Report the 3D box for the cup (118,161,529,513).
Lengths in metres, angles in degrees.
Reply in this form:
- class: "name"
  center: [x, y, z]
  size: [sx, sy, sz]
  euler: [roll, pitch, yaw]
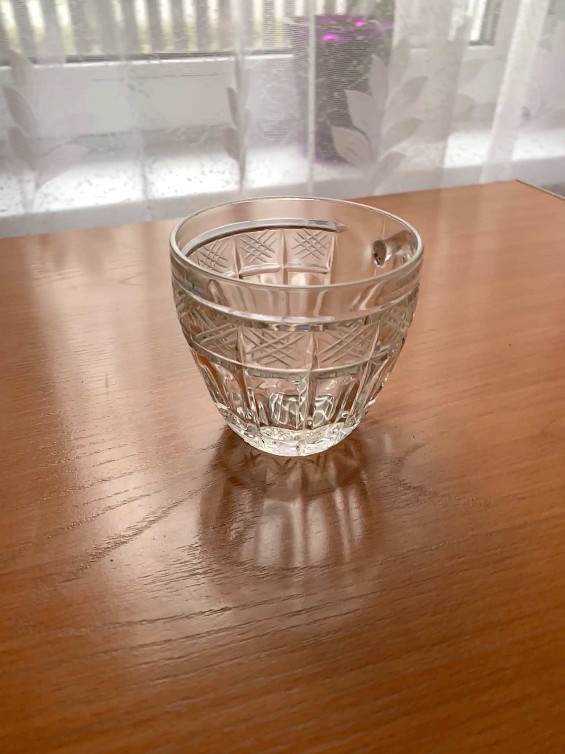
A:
- class: "cup"
  center: [0.010, -0.023, 0.204]
  size: [0.101, 0.066, 0.083]
  euler: [-19, 42, -25]
